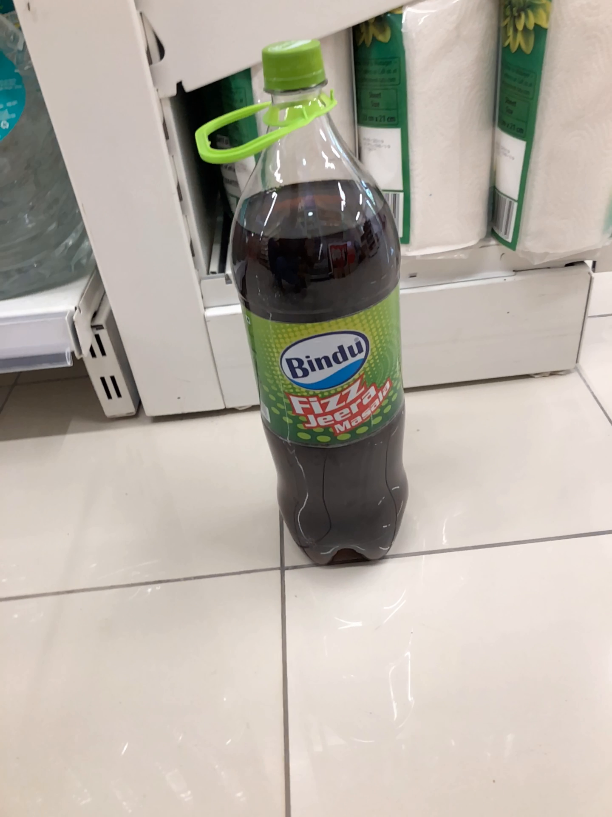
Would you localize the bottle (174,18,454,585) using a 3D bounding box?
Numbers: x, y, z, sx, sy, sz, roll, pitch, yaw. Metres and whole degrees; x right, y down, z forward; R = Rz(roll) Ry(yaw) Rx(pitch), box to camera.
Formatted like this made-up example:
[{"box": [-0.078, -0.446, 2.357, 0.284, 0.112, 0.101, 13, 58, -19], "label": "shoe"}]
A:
[{"box": [0.015, -0.042, 0.391, 0.110, 0.298, 0.101, -5, 37, 4], "label": "bottle"}]
